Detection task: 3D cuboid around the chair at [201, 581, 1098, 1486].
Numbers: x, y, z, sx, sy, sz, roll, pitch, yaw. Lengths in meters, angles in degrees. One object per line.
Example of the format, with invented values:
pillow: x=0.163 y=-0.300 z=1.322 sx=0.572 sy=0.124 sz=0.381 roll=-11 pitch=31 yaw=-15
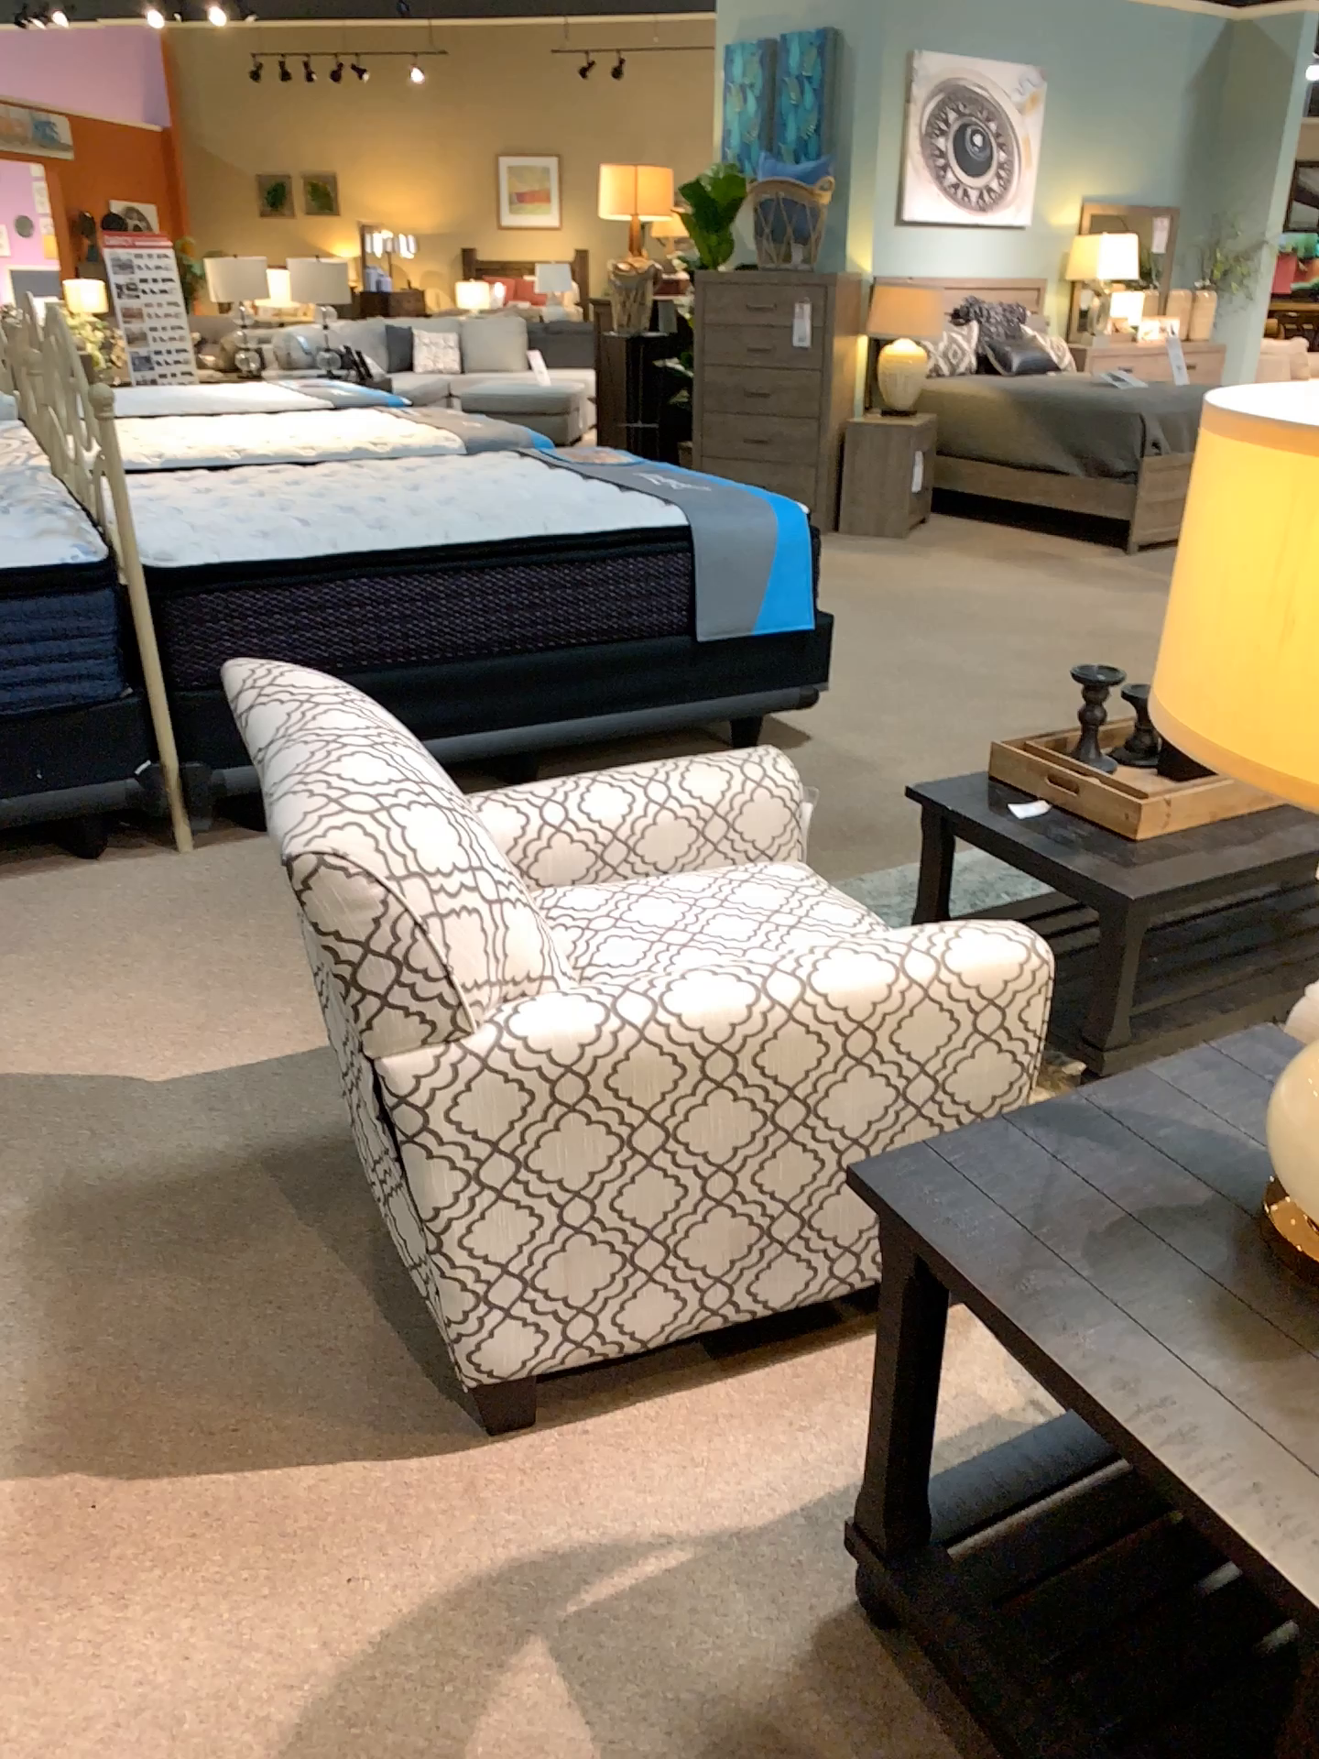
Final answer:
chair: x=-0.087 y=0.106 z=1.987 sx=0.964 sy=0.847 sz=0.878 roll=-9 pitch=26 yaw=-20
